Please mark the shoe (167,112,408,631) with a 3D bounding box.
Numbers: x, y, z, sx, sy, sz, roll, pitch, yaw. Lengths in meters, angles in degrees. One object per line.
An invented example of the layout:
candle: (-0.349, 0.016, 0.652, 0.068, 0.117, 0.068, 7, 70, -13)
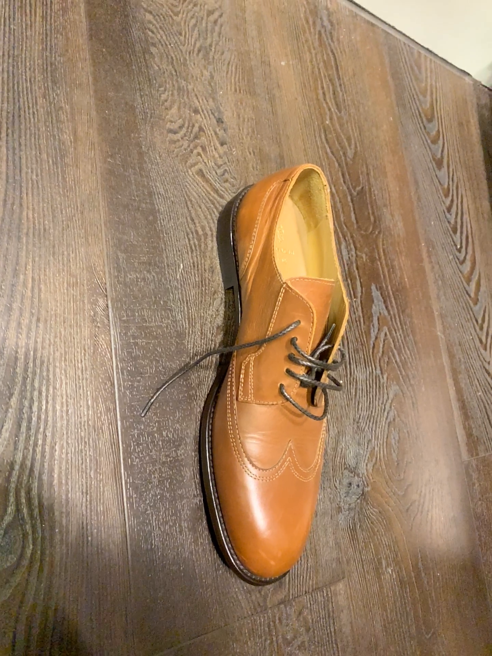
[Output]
shoe: (0.029, 0.025, 0.383, 0.120, 0.109, 0.321, 11, 72, -31)
